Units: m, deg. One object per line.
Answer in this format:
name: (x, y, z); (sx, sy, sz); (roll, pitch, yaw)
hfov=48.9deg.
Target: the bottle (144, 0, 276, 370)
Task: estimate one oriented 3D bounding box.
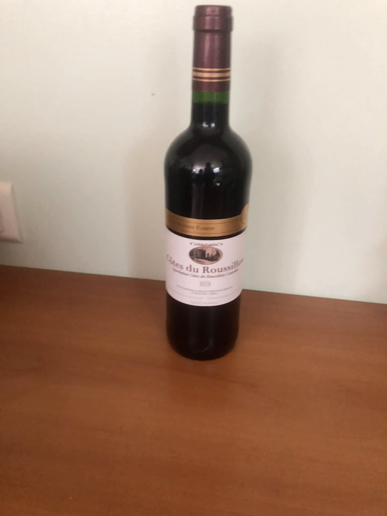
bottle: (0.011, -0.047, 0.359); (0.080, 0.288, 0.081); (1, 28, -1)
